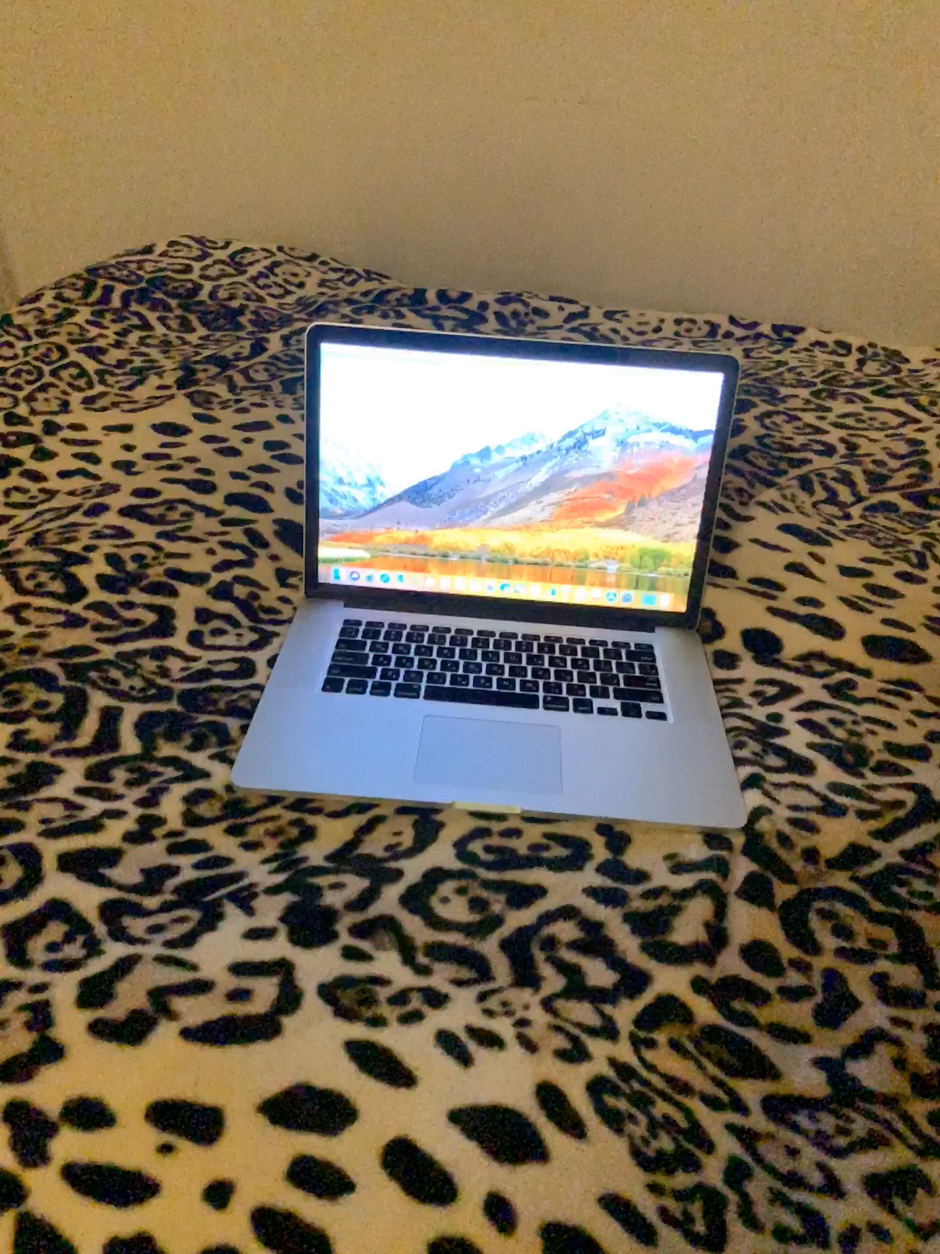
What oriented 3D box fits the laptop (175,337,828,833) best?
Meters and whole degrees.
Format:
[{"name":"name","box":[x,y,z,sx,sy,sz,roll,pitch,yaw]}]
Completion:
[{"name":"laptop","box":[0.020,-0.048,0.703,0.348,0.222,0.301,4,35,2]}]
